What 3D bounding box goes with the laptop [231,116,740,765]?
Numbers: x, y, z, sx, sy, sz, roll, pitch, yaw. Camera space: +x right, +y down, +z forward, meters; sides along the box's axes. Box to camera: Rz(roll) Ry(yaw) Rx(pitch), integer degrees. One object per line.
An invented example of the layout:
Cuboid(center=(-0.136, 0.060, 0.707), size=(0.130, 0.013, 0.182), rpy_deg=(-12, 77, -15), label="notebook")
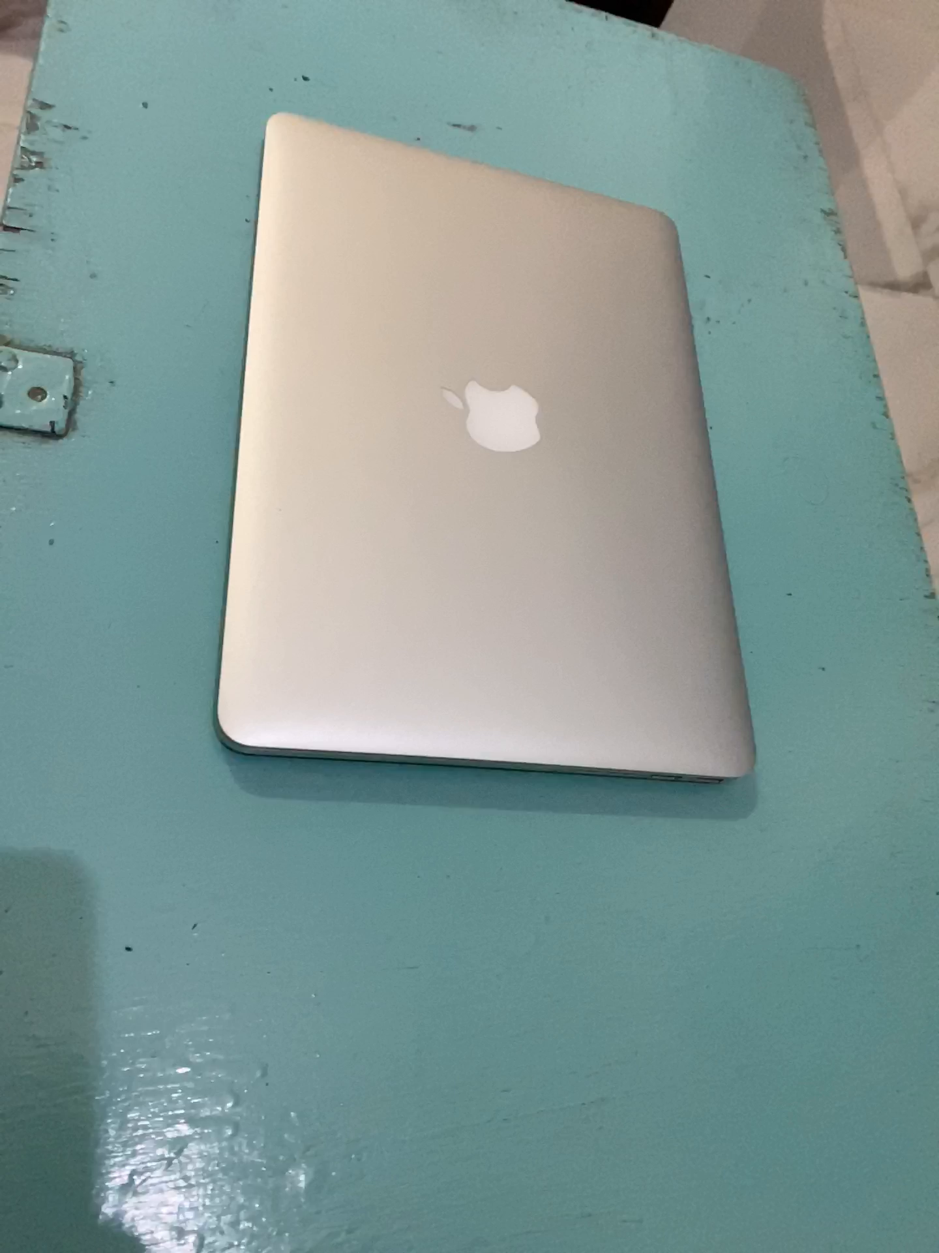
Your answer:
Cuboid(center=(0.007, -0.088, 0.427), size=(0.209, 0.007, 0.292), rpy_deg=(6, 66, -20), label="laptop")
